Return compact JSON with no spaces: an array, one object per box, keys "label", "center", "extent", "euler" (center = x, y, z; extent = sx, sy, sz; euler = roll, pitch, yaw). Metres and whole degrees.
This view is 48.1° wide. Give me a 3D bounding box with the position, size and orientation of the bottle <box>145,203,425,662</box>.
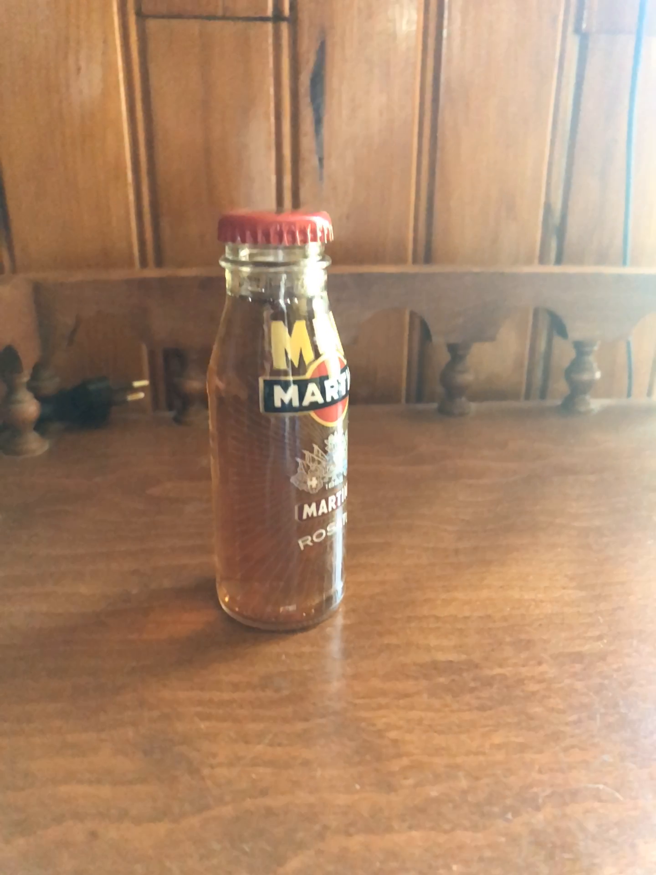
[{"label":"bottle","center":[-0.011,-0.005,0.205],"extent":[0.050,0.109,0.050],"euler":[1,21,0]}]
